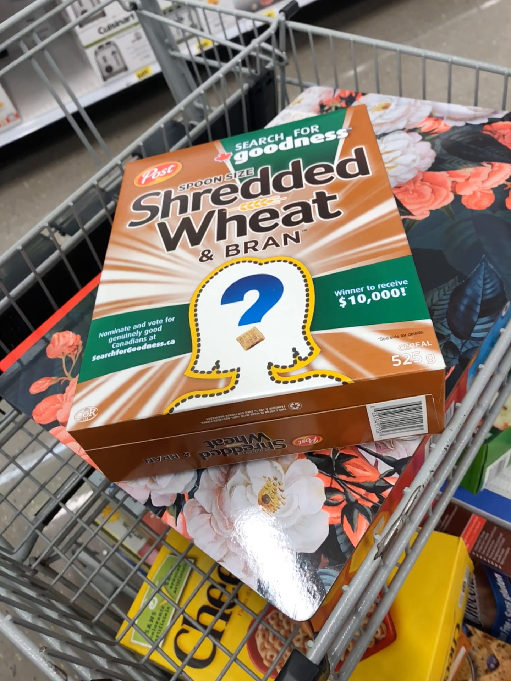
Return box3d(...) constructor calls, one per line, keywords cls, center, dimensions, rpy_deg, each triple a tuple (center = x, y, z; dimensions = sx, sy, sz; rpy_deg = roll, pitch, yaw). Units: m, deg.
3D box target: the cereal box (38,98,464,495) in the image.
box3d(cls="cereal box", center=(-0.005, -0.055, 0.417), dimensions=(0.220, 0.070, 0.301), rpy_deg=(-10, 46, 7))
